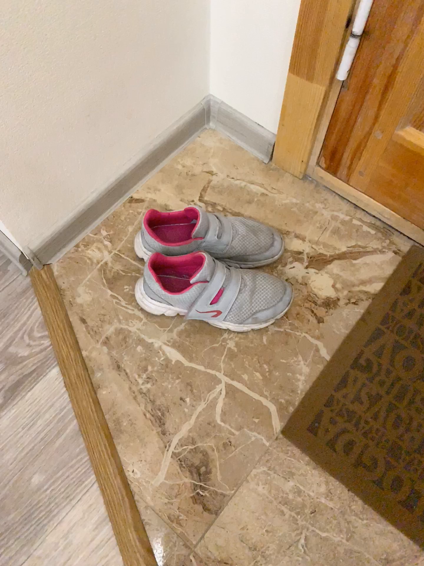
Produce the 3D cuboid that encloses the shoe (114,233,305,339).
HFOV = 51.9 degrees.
[{"bbox_3d":[0.000,0.007,0.657,0.260,0.100,0.100,6,63,2],"label":"shoe"}]

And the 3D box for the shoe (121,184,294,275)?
[{"bbox_3d":[-0.006,-0.083,0.697,0.250,0.100,0.100,1,63,0],"label":"shoe"}]
